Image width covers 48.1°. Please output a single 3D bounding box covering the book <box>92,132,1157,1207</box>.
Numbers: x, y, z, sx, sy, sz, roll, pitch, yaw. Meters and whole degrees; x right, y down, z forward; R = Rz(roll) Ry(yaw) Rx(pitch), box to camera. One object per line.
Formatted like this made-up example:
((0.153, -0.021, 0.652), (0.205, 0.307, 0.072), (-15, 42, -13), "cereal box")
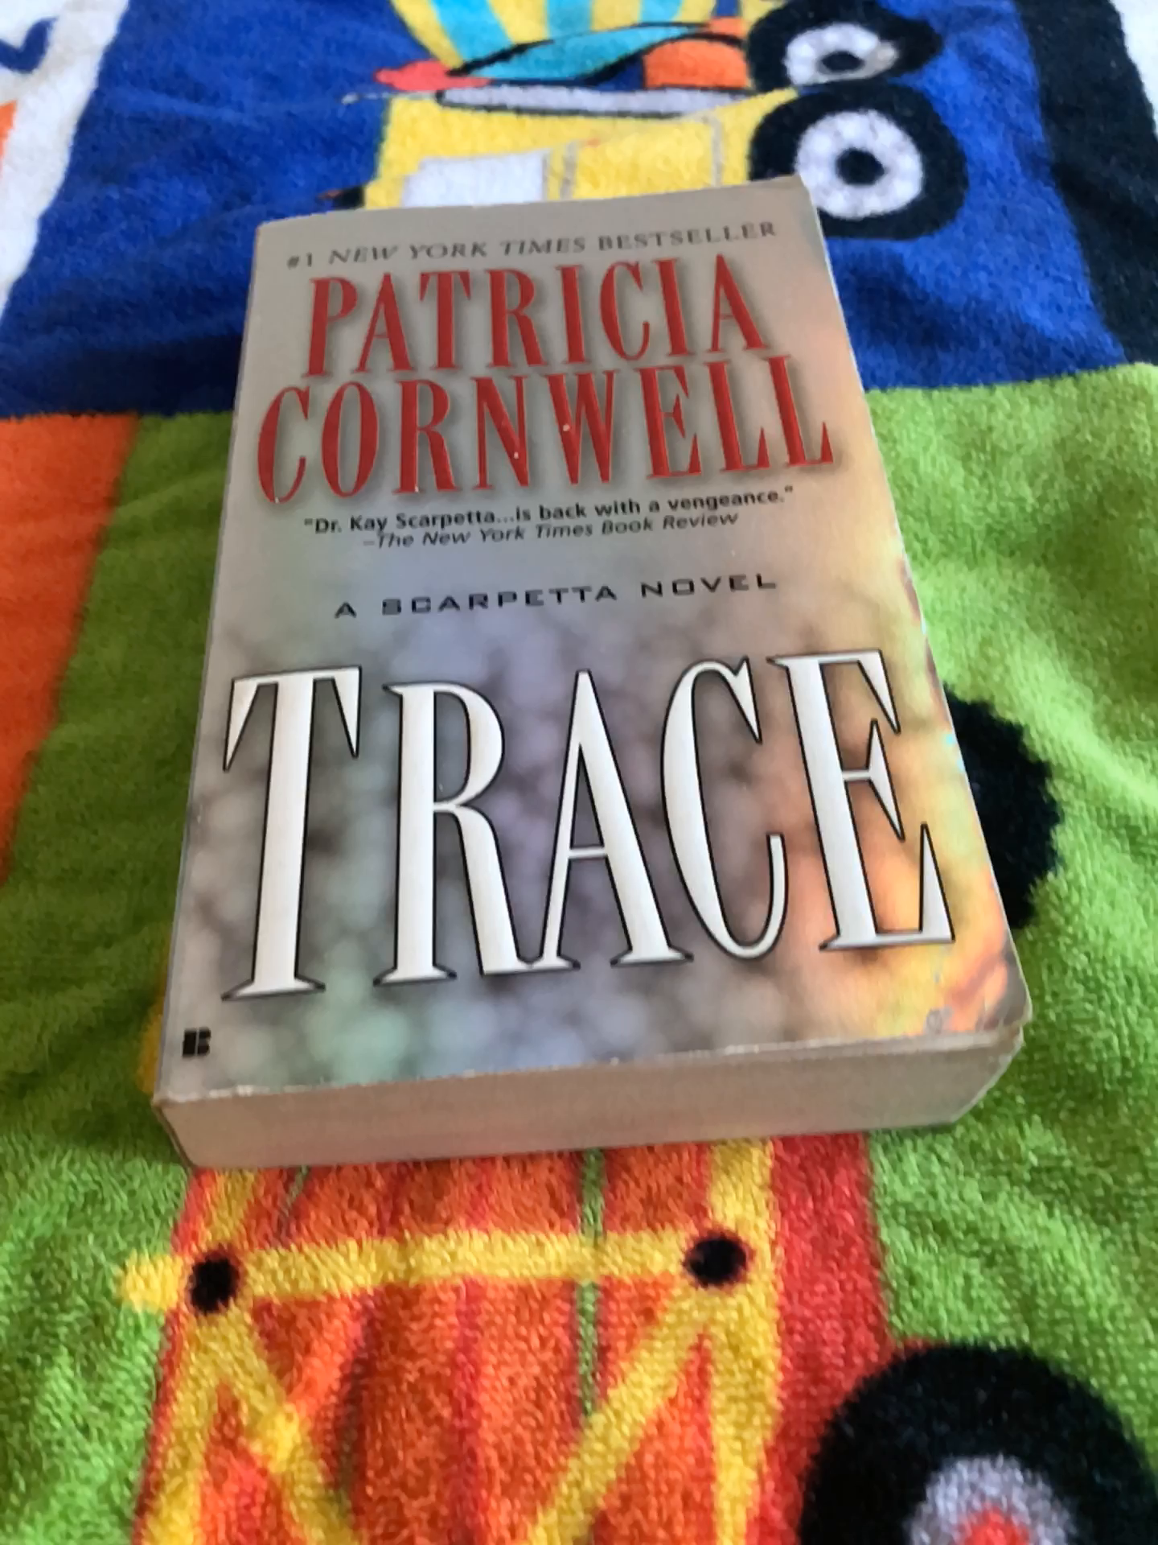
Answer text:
((0.003, -0.030, 0.211), (0.120, 0.040, 0.181), (-4, 56, 1), "book")
